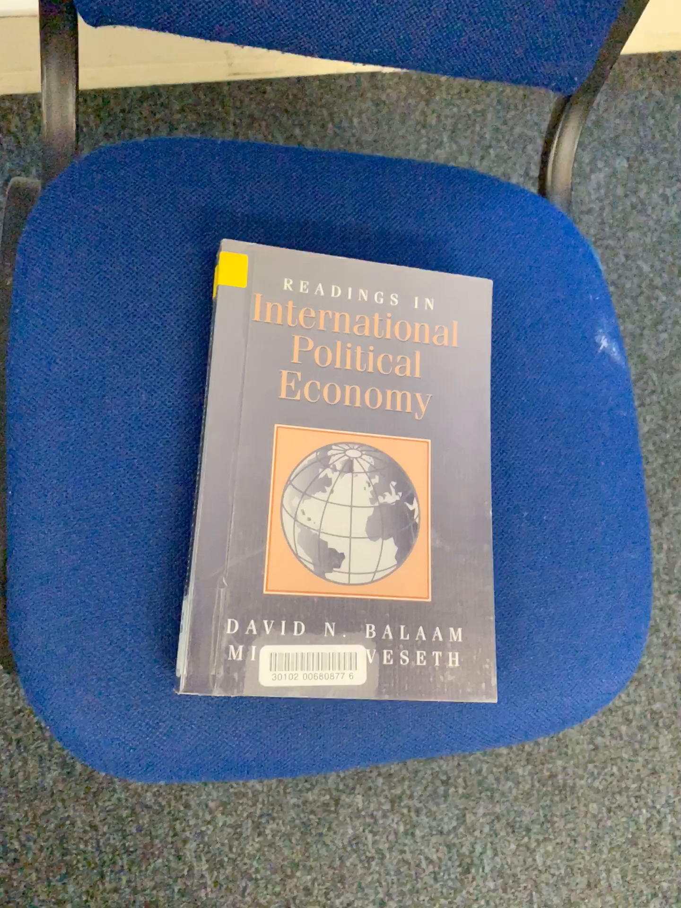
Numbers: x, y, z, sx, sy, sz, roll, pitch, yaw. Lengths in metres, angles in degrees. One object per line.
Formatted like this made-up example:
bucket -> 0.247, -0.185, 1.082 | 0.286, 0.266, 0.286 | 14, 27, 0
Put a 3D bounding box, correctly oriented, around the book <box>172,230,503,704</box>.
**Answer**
book -> 0.003, 0.007, 0.350 | 0.150, 0.030, 0.220 | 6, 75, -14
